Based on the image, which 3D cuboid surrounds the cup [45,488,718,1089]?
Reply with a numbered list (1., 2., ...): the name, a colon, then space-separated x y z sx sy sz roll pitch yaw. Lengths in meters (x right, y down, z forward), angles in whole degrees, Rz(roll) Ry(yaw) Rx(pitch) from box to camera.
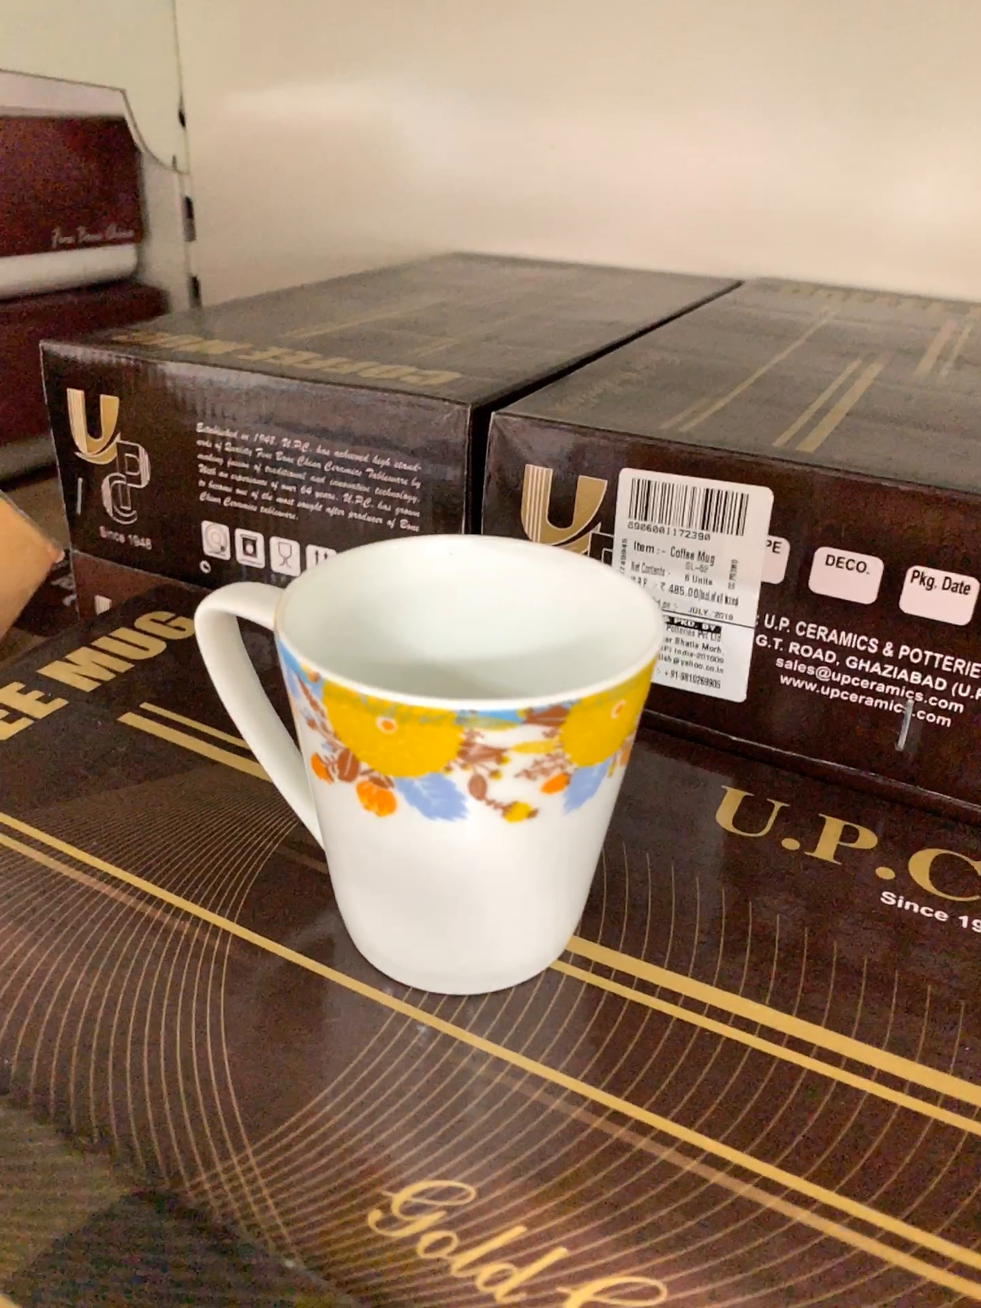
1. cup: -0.017 0.015 0.187 0.092 0.058 0.068 16 31 25
